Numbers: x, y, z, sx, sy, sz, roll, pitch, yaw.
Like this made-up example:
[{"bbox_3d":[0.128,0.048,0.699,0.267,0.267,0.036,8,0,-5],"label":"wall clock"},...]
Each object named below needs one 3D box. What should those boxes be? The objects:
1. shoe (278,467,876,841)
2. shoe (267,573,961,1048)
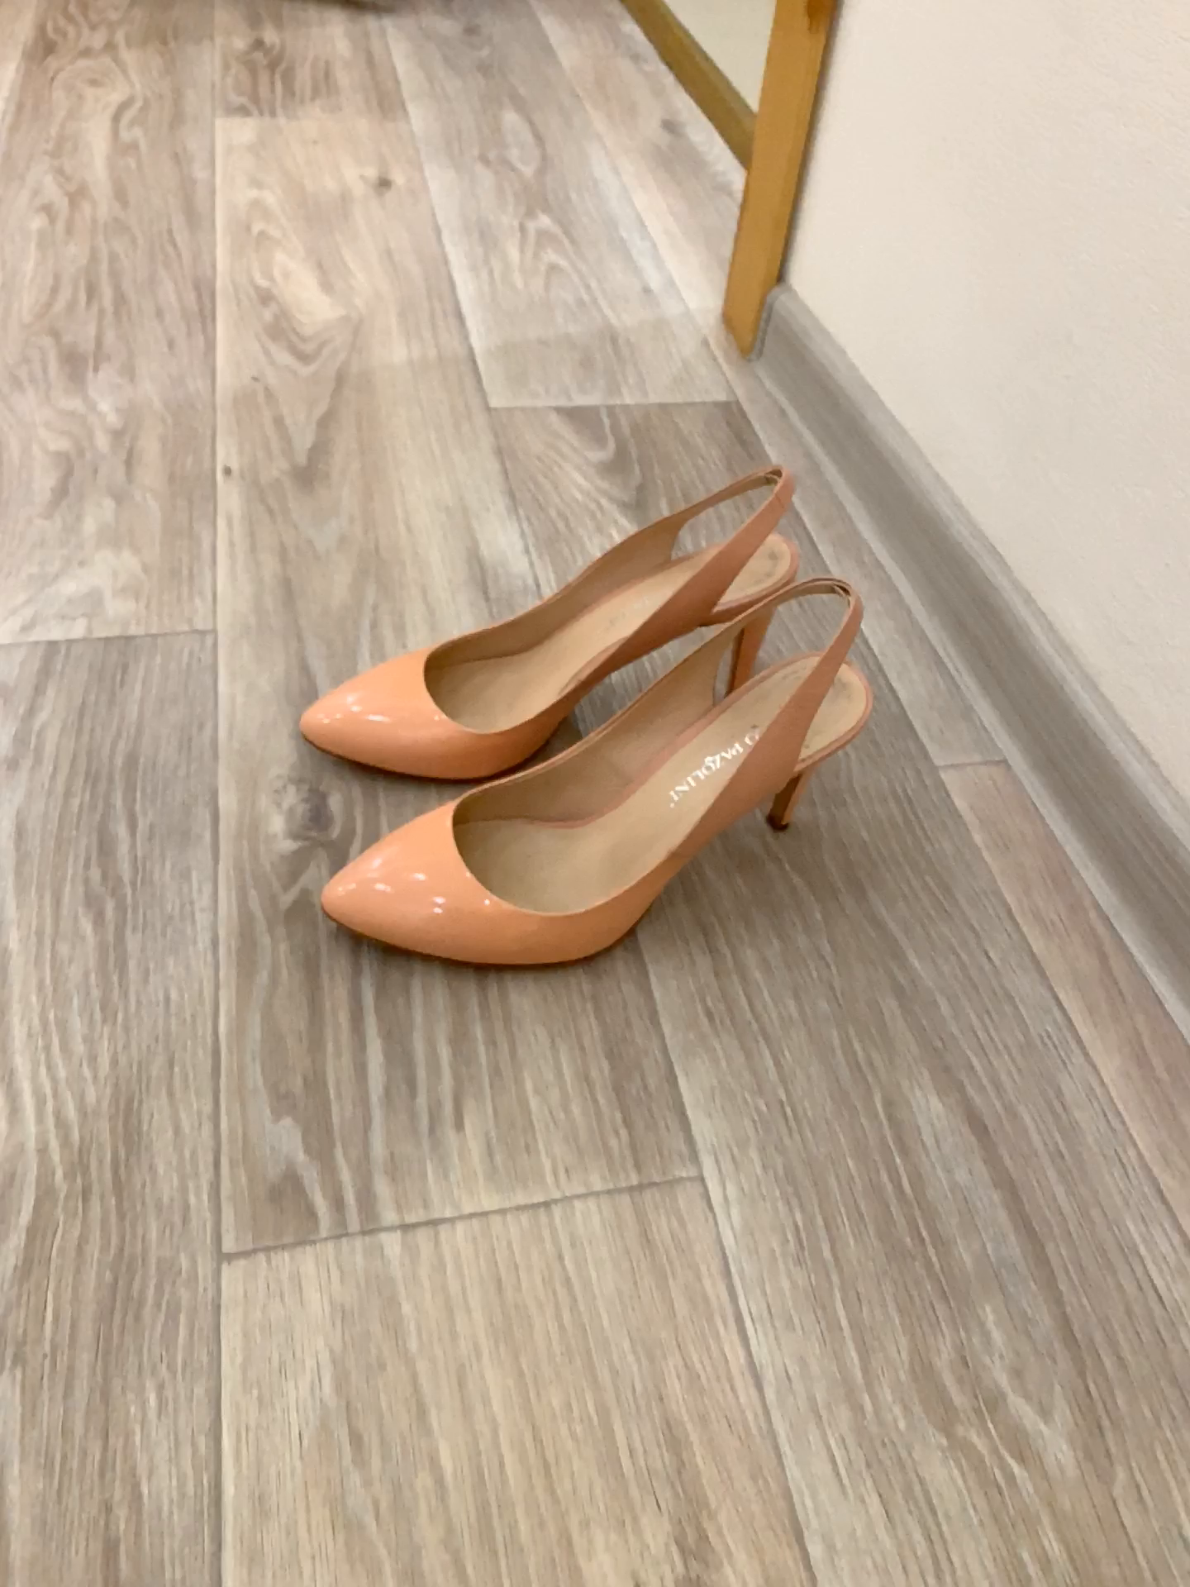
[{"bbox_3d":[-0.013,-0.066,0.564,0.240,0.119,0.090,-7,48,-13],"label":"shoe"},{"bbox_3d":[0.004,0.003,0.495,0.240,0.119,0.090,-11,49,-17],"label":"shoe"}]
